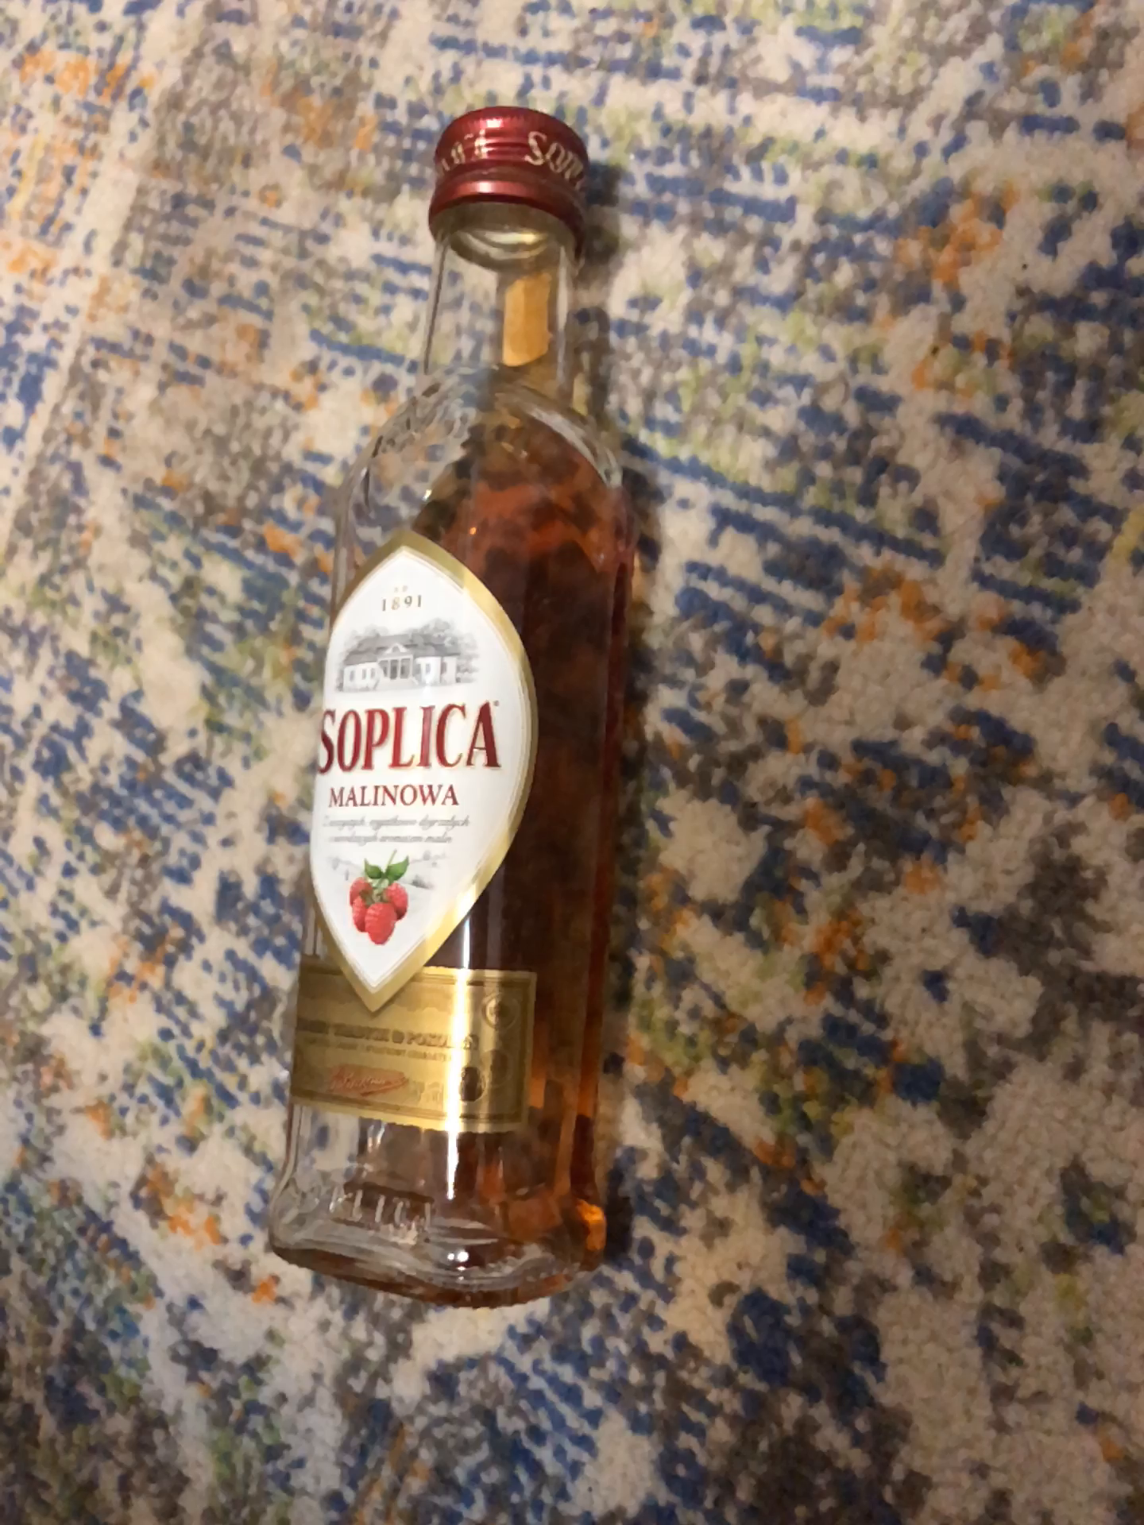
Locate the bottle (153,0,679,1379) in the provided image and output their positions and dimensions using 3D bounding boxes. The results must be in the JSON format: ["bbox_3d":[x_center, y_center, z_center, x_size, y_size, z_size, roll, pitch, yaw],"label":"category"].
[{"bbox_3d":[-0.023,-0.020,0.214,0.060,0.040,0.210,-2,81,34],"label":"bottle"}]
